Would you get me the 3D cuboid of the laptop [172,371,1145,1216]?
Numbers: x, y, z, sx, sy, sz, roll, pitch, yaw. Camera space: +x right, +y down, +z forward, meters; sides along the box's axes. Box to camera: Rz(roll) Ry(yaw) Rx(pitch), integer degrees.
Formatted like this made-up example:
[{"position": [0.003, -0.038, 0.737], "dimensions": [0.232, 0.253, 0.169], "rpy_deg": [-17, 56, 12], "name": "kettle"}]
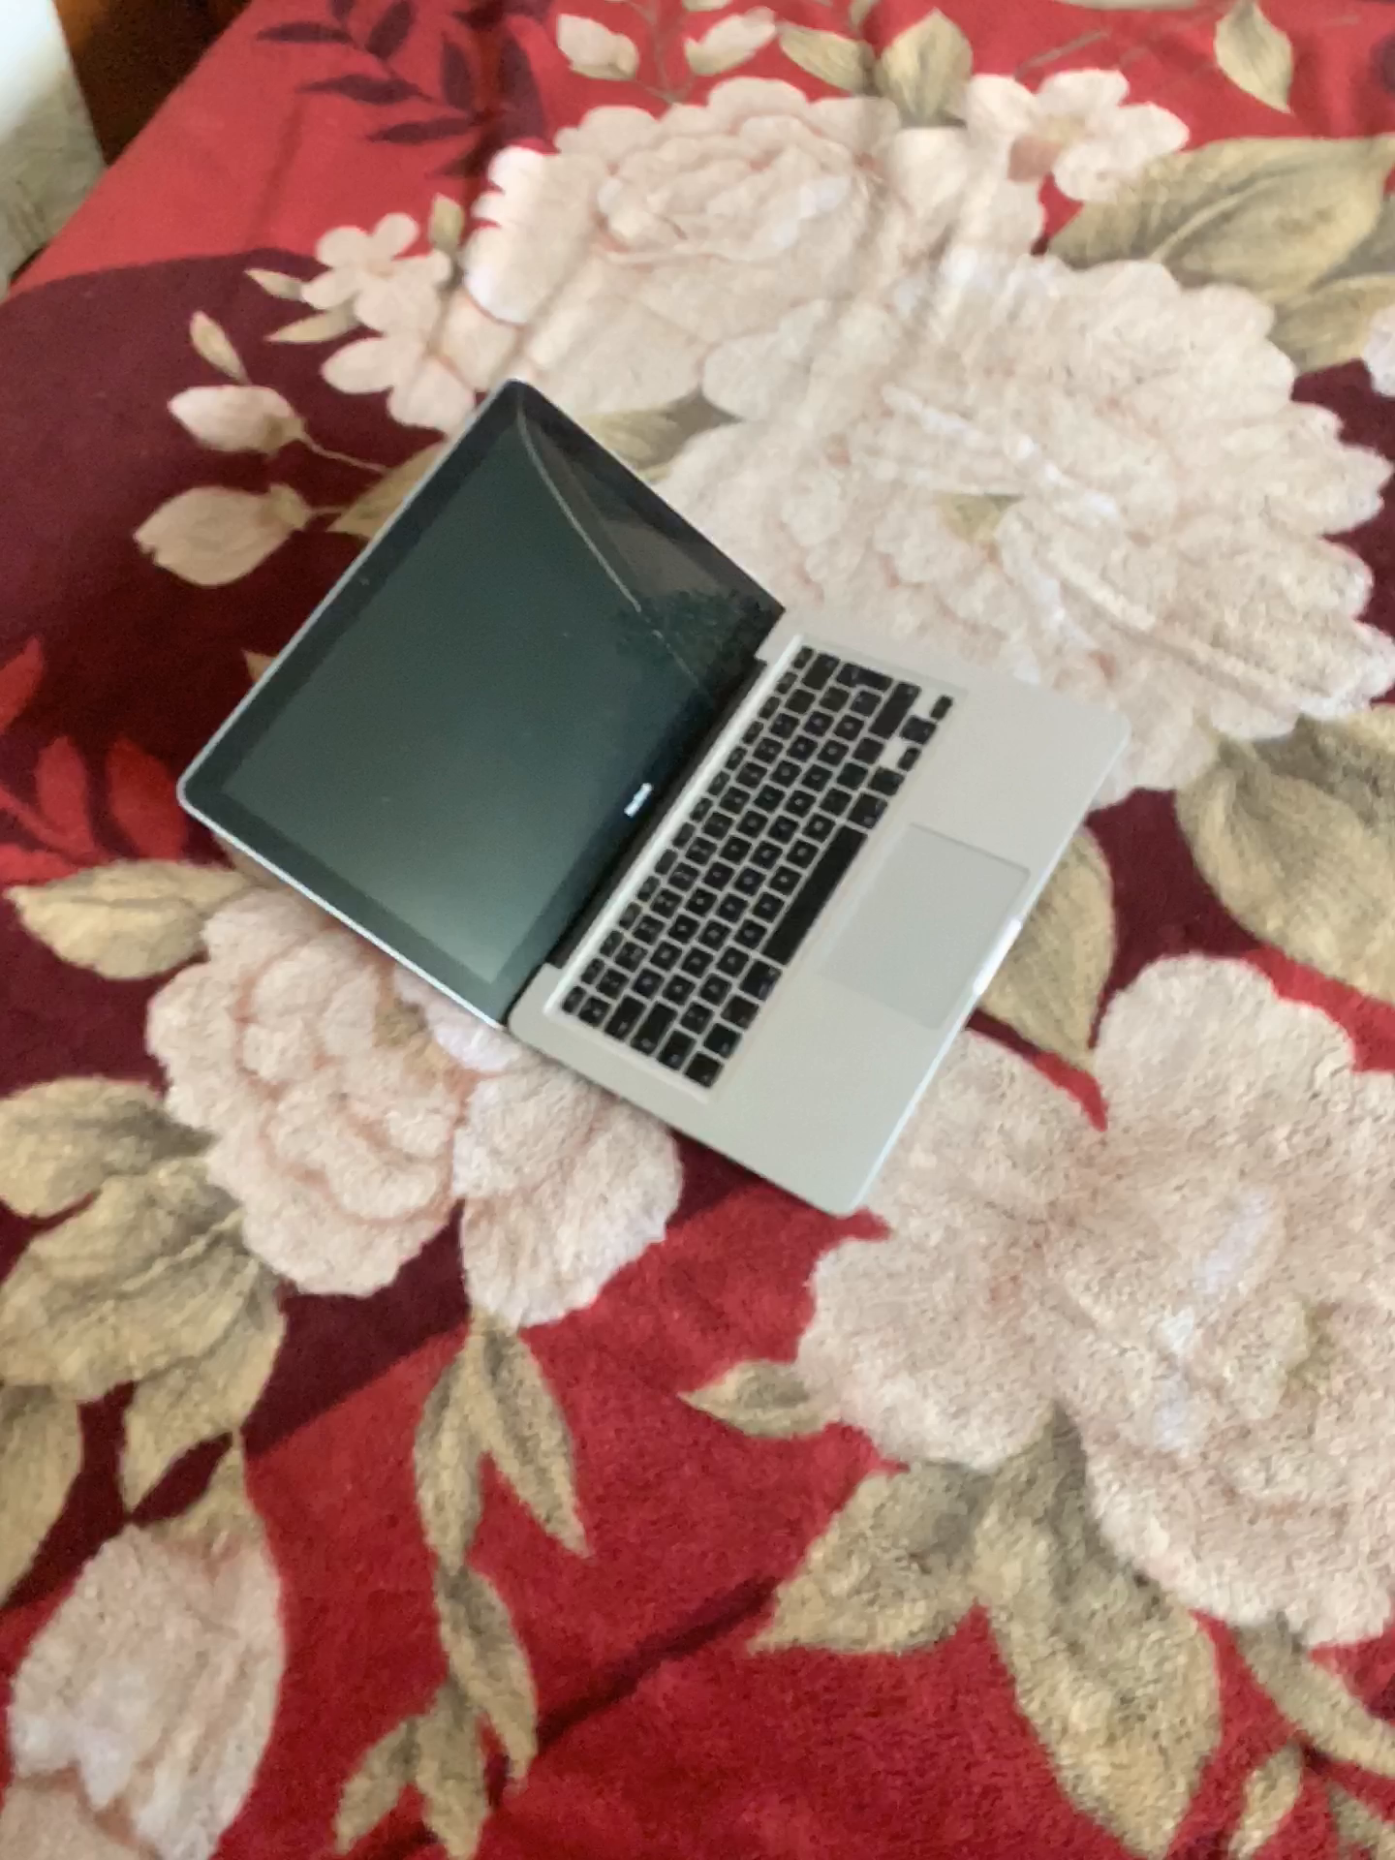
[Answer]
[{"position": [-0.018, -0.092, 0.757], "dimensions": [0.388, 0.116, 0.317], "rpy_deg": [26, 74, 21], "name": "laptop"}]
